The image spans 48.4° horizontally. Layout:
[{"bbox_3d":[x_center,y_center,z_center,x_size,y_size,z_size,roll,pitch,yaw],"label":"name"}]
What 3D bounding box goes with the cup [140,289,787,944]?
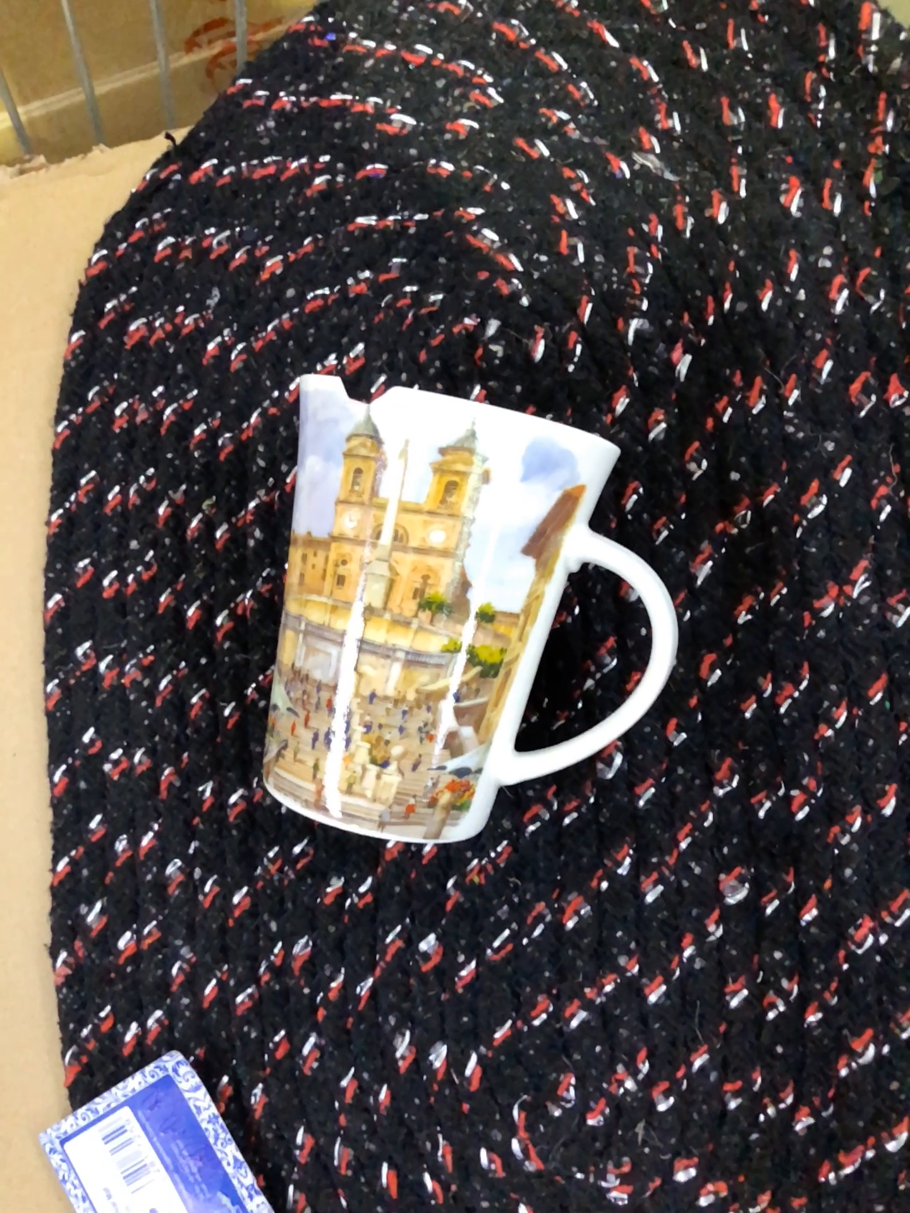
[{"bbox_3d":[0.005,-0.001,0.248,0.110,0.090,0.110,0,91,8],"label":"cup"}]
